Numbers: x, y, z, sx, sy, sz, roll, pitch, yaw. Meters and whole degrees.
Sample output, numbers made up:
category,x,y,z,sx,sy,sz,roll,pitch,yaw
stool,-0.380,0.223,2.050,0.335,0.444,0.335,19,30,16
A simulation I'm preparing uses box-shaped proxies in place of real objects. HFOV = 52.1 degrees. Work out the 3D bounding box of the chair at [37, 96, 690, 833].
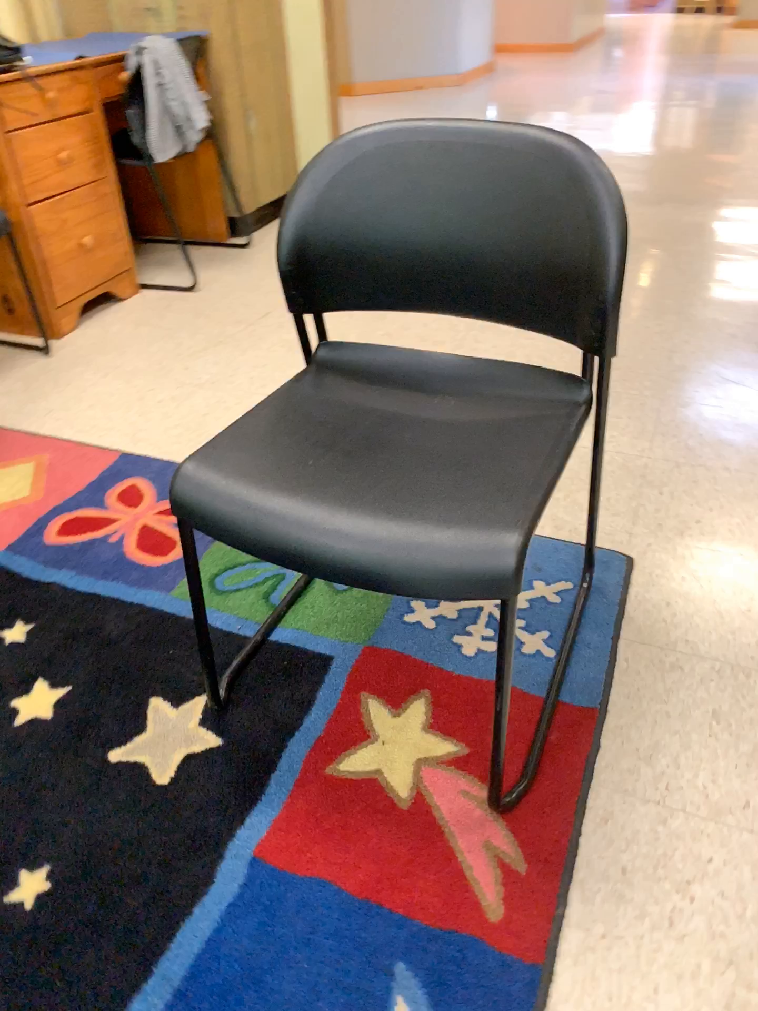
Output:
category,x,y,z,sx,sy,sz,roll,pitch,yaw
chair,0.043,-0.092,1.086,0.571,0.785,0.533,11,37,19
